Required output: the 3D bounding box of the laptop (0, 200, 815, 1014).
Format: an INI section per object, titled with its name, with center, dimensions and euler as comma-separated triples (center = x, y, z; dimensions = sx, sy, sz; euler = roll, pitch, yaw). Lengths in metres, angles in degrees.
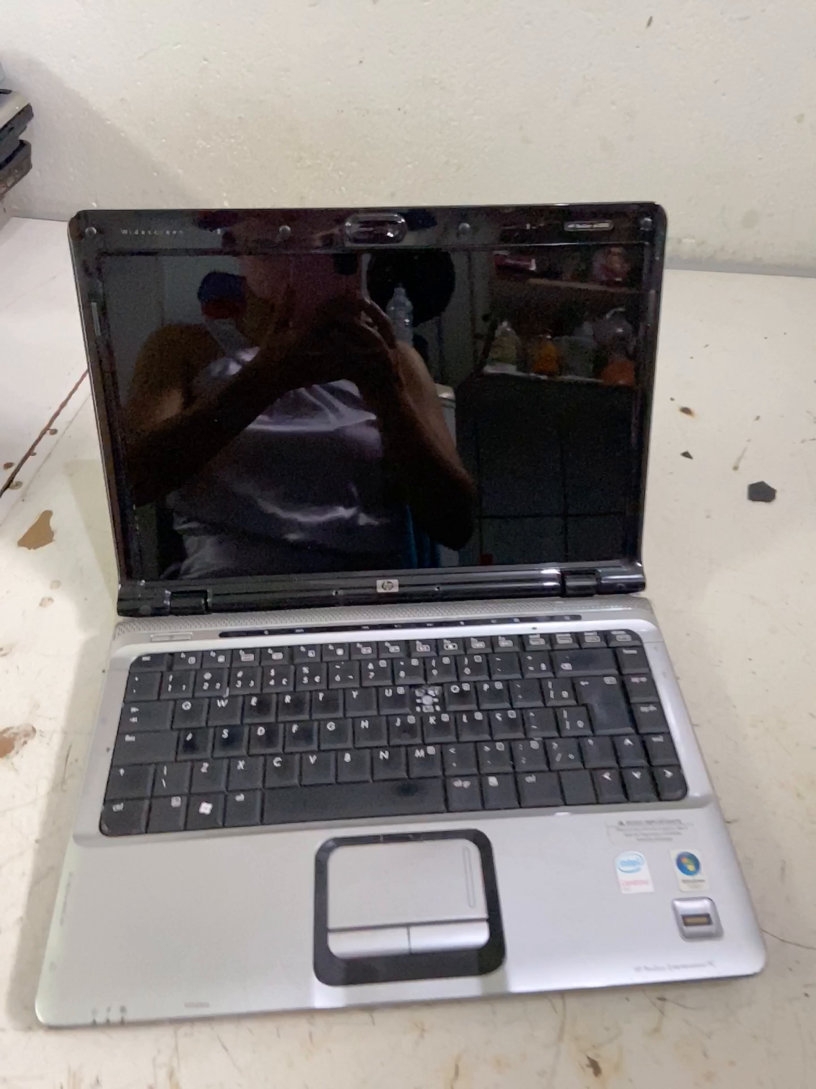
[laptop]
center = -0.006, 0.007, 0.411
dimensions = 0.321, 0.193, 0.335
euler = -2, 47, -3
